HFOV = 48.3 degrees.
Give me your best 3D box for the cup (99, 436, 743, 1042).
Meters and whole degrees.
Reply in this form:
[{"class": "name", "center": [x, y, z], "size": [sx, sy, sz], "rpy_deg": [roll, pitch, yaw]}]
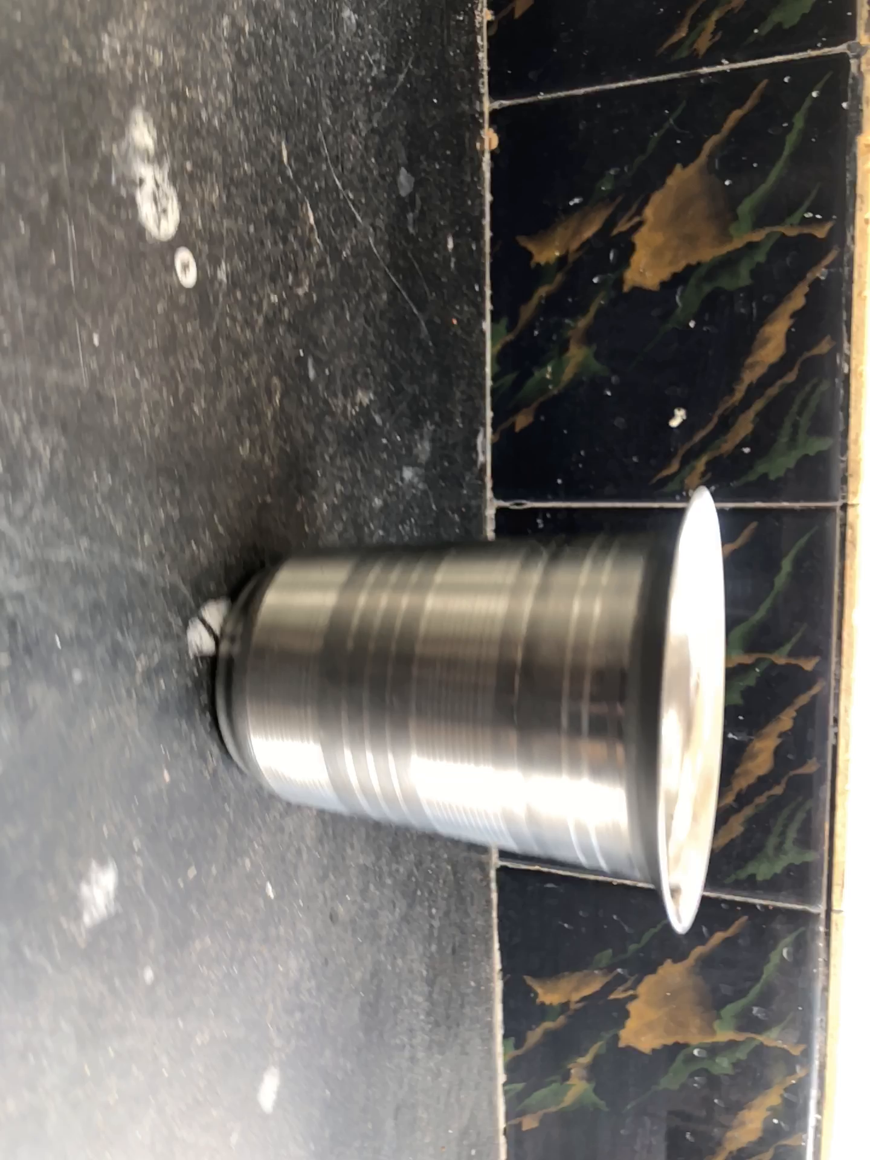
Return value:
[{"class": "cup", "center": [0.009, 0.026, 0.223], "size": [0.090, 0.109, 0.090], "rpy_deg": [2, 90, -68]}]
